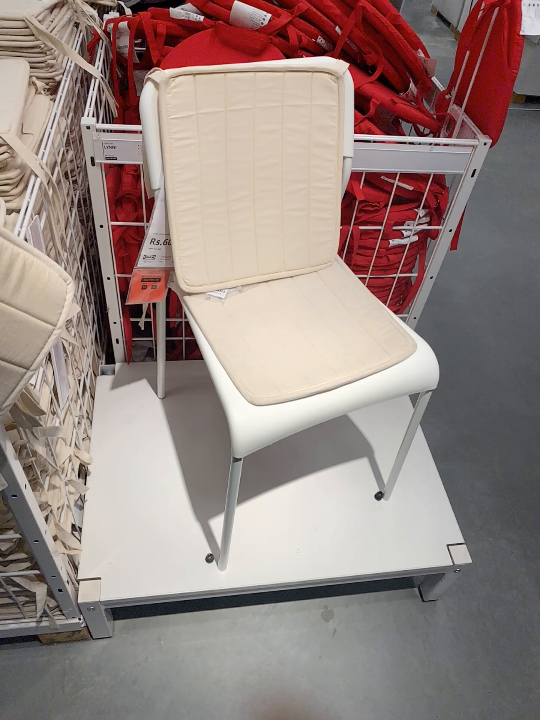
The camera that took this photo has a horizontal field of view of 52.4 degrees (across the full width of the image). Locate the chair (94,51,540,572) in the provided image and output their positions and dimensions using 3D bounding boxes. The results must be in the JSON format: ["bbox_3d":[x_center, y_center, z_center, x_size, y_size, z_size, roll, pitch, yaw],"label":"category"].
[{"bbox_3d":[0.015,-0.071,0.974,0.430,0.698,0.481,-17,51,-22],"label":"chair"}]
